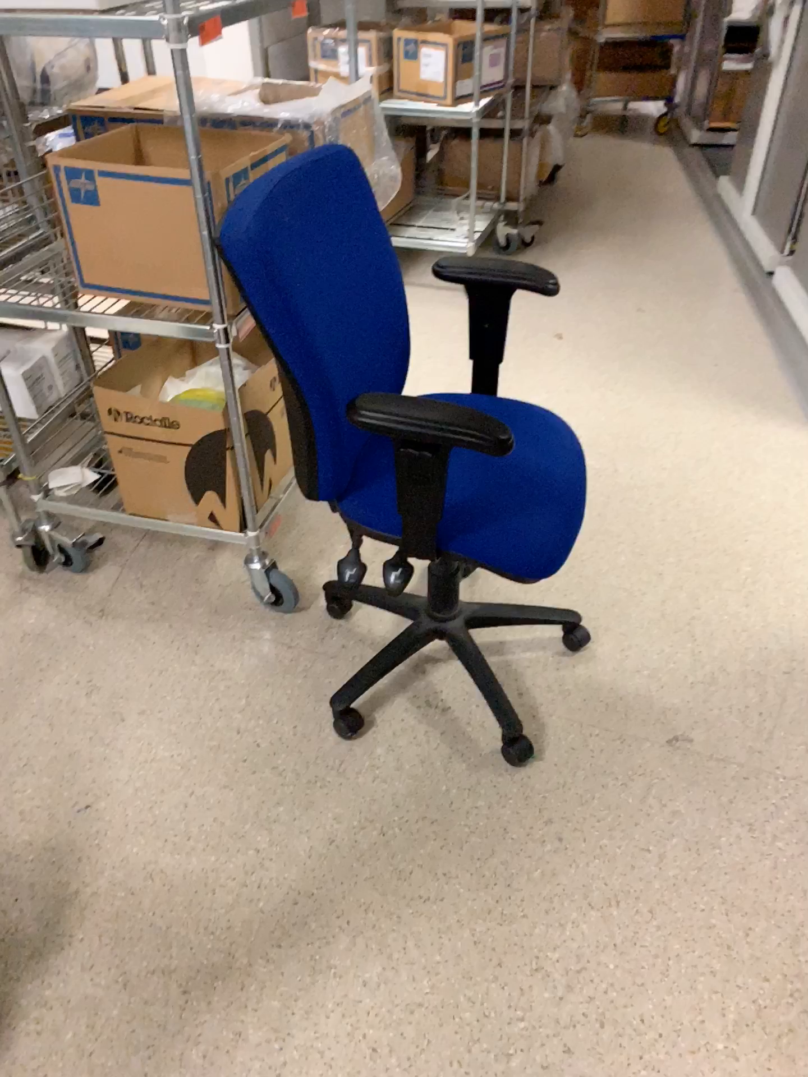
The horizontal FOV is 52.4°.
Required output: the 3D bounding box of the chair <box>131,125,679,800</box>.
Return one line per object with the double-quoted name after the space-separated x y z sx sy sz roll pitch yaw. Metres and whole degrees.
0.066 -0.161 1.537 0.666 0.949 0.684 10 39 13 "chair"
